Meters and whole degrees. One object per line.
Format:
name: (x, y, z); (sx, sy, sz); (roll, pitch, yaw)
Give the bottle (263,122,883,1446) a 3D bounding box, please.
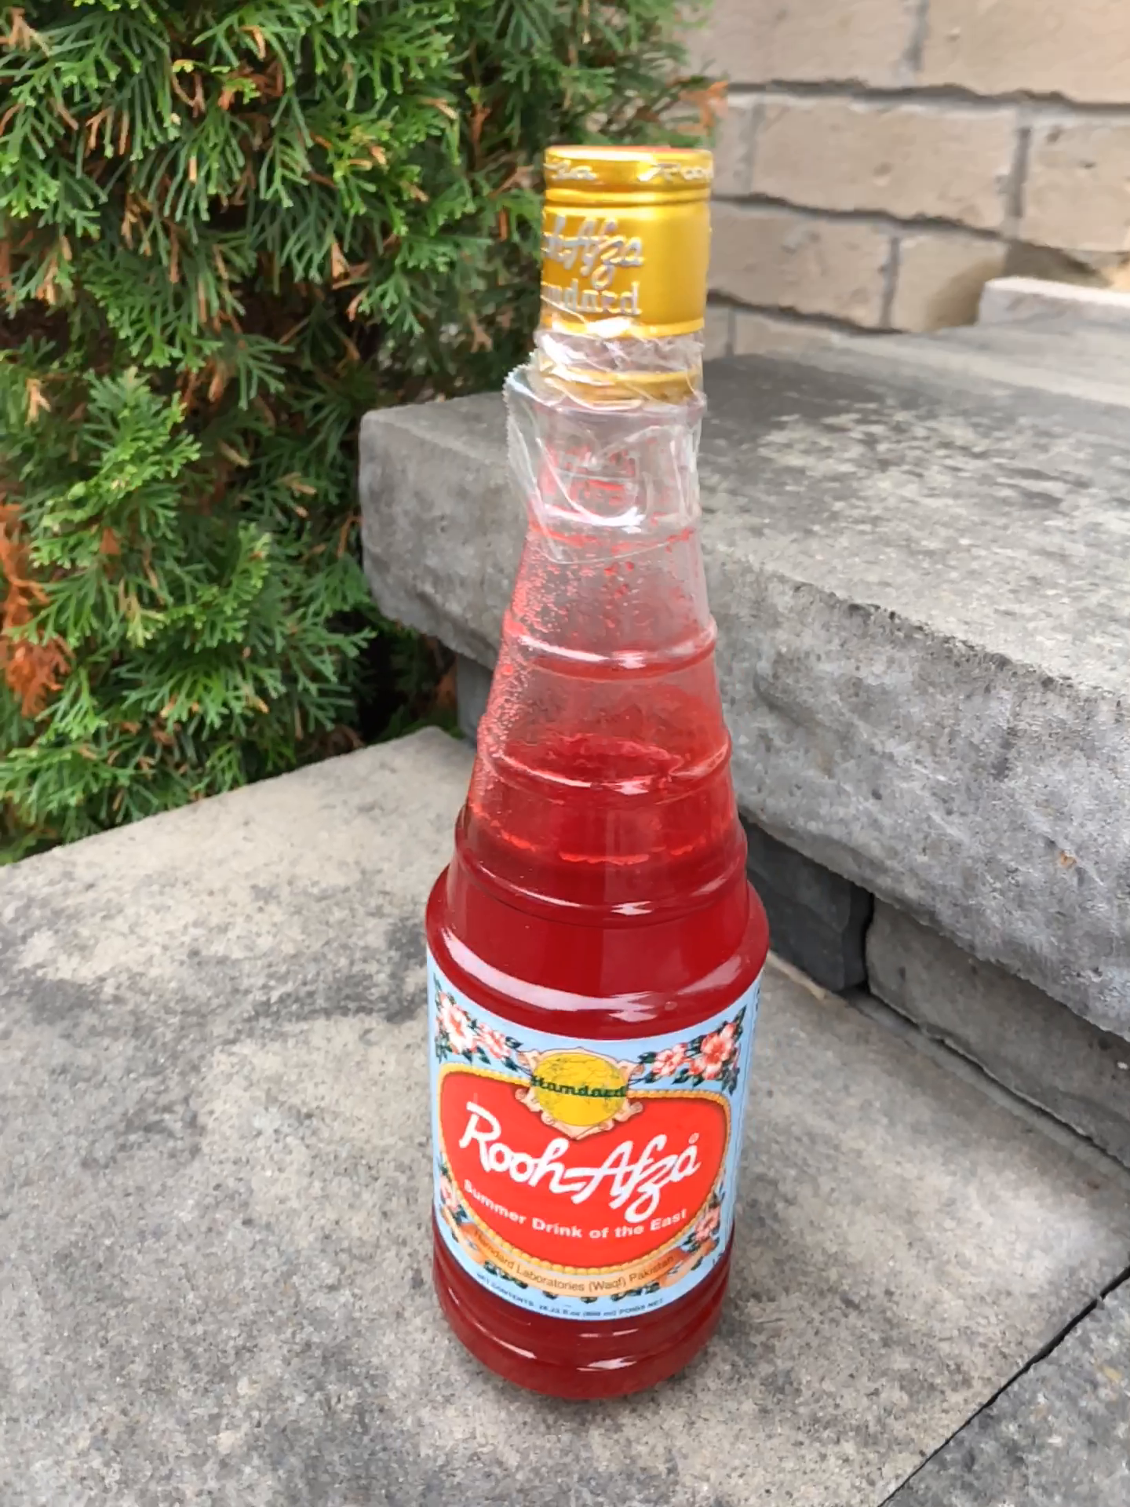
bottle: (0.004, 0.018, 0.279); (0.090, 0.279, 0.080); (6, 28, 9)
